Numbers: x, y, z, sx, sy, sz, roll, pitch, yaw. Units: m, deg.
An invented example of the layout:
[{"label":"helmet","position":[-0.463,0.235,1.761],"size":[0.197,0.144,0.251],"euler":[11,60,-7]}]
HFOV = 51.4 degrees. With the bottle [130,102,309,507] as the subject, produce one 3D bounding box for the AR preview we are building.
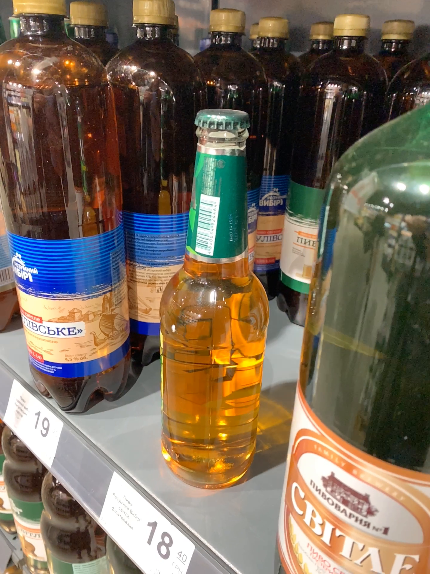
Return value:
[{"label":"bottle","position":[0.002,0.016,0.283],"size":[0.066,0.238,0.072],"euler":[1,27,-1]}]
